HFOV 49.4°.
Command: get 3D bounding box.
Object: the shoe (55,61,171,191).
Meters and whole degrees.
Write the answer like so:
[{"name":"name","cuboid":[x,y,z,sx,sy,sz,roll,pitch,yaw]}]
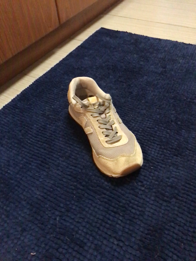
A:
[{"name":"shoe","cuboid":[0.012,-0.032,0.475,0.130,0.099,0.281,-19,48,-14]}]
